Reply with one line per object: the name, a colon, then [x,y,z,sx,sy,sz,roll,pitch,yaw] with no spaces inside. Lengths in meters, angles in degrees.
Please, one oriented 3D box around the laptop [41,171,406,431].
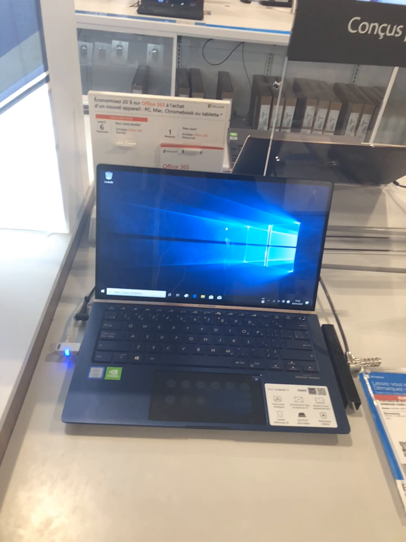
laptop: [0.012,0.024,0.531,0.308,0.179,0.254,4,36,-4]
